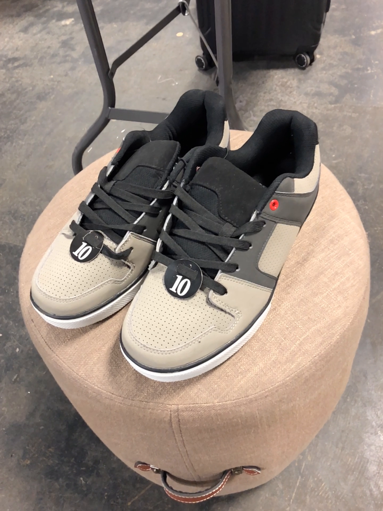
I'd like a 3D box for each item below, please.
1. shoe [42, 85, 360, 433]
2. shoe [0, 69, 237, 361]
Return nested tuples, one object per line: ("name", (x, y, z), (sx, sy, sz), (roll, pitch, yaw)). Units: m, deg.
("shoe", (0.032, -0.021, 0.393), (0.120, 0.099, 0.311), (24, 59, 24))
("shoe", (-0.078, -0.054, 0.422), (0.120, 0.119, 0.261), (27, 60, 26))
